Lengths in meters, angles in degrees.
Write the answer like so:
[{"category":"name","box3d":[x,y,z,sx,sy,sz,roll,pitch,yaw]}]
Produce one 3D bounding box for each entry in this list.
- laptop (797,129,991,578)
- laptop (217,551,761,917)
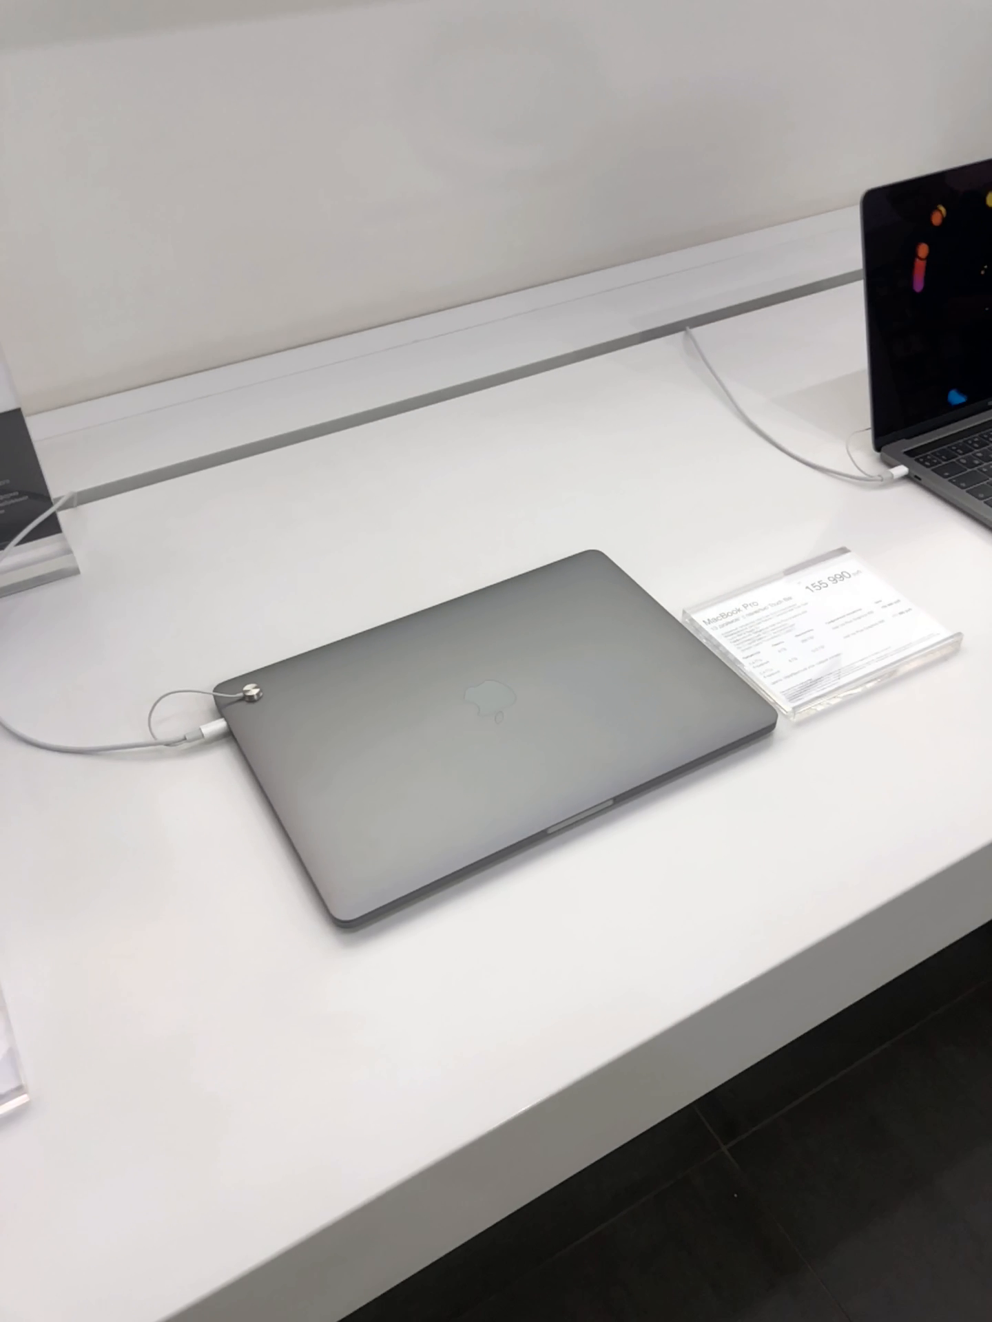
[{"category":"laptop","box3d":[0.470,-0.259,0.856,0.309,0.187,0.277,-23,48,-25]},{"category":"laptop","box3d":[-0.009,0.027,0.686,0.279,0.001,0.202,-22,46,-20]}]
